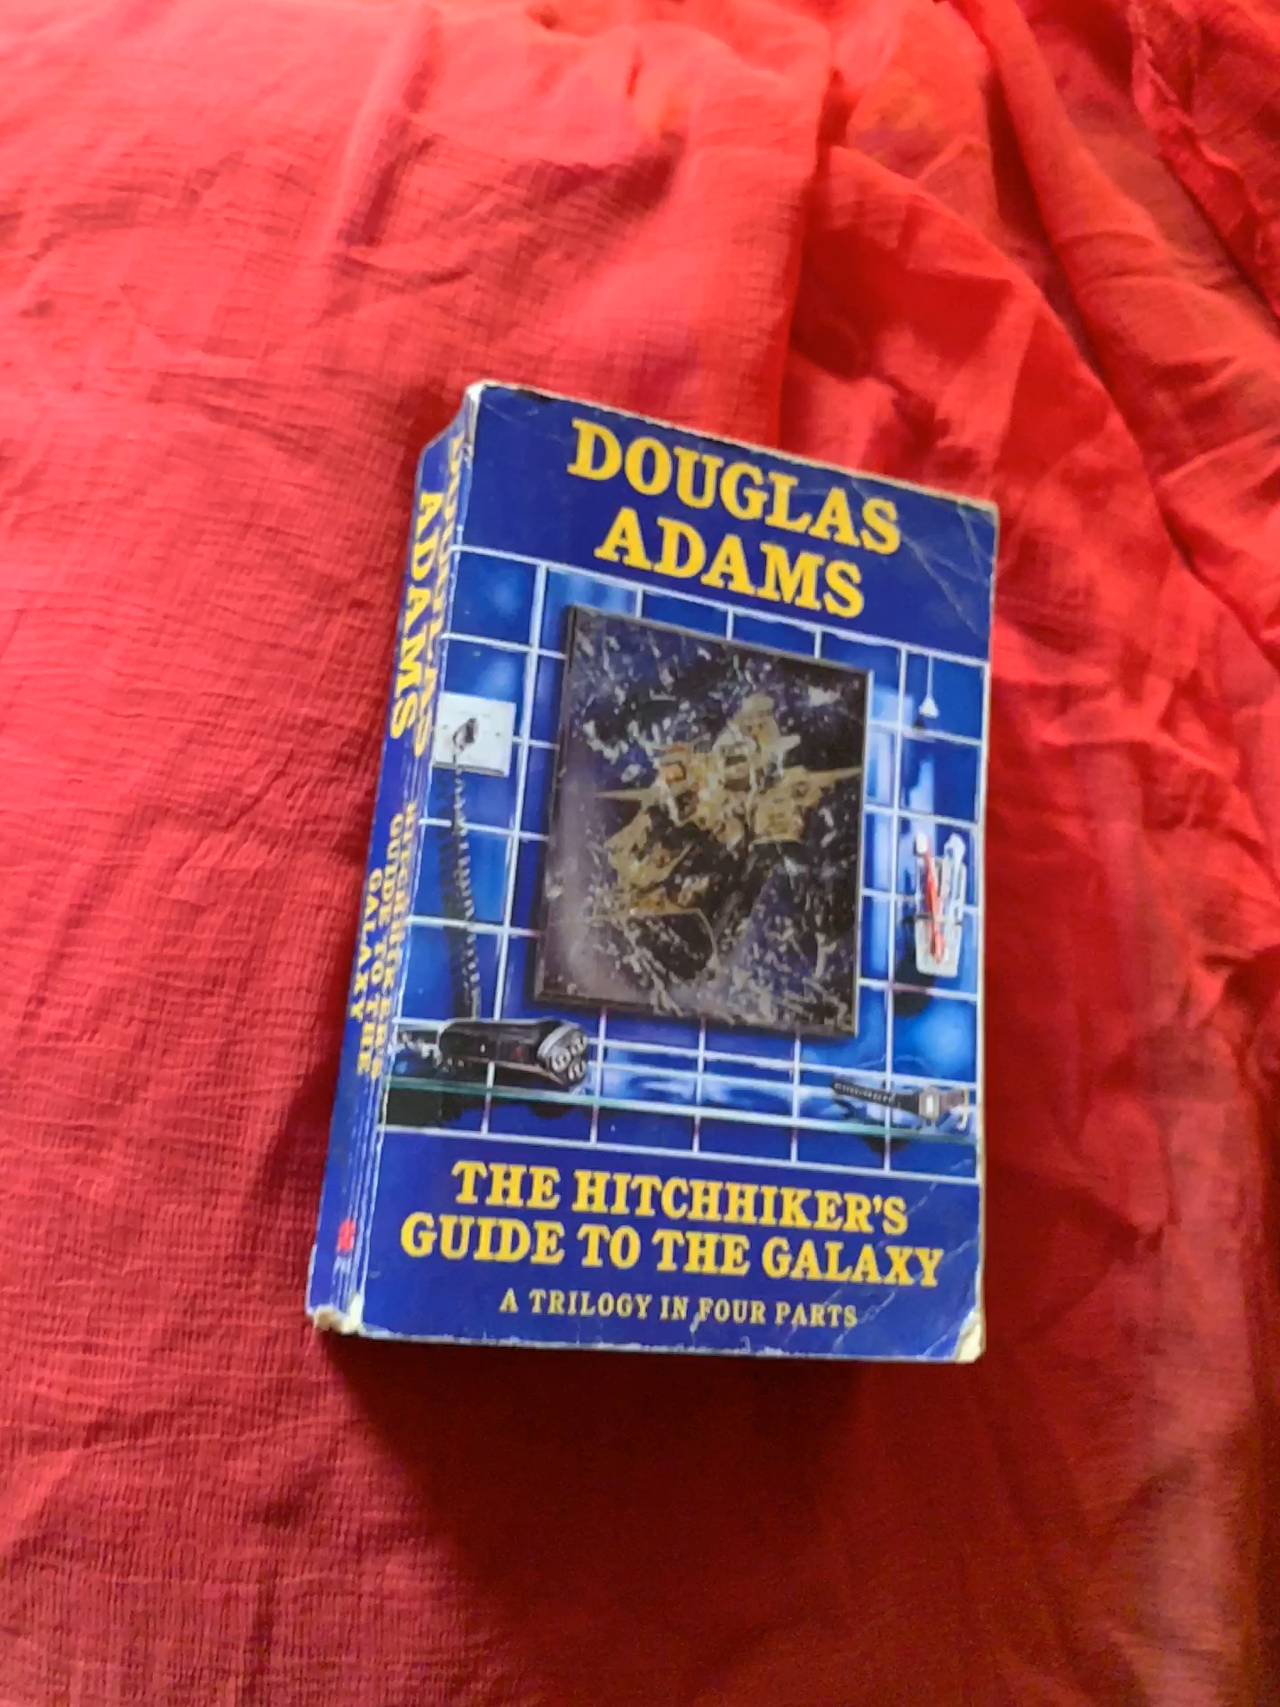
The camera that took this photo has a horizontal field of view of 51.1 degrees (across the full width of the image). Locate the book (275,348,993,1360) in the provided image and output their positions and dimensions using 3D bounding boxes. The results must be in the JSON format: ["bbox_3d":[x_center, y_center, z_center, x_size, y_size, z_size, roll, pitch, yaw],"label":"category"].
[{"bbox_3d":[0.005,0.003,0.286,0.130,0.045,0.187,10,74,-16],"label":"book"}]
